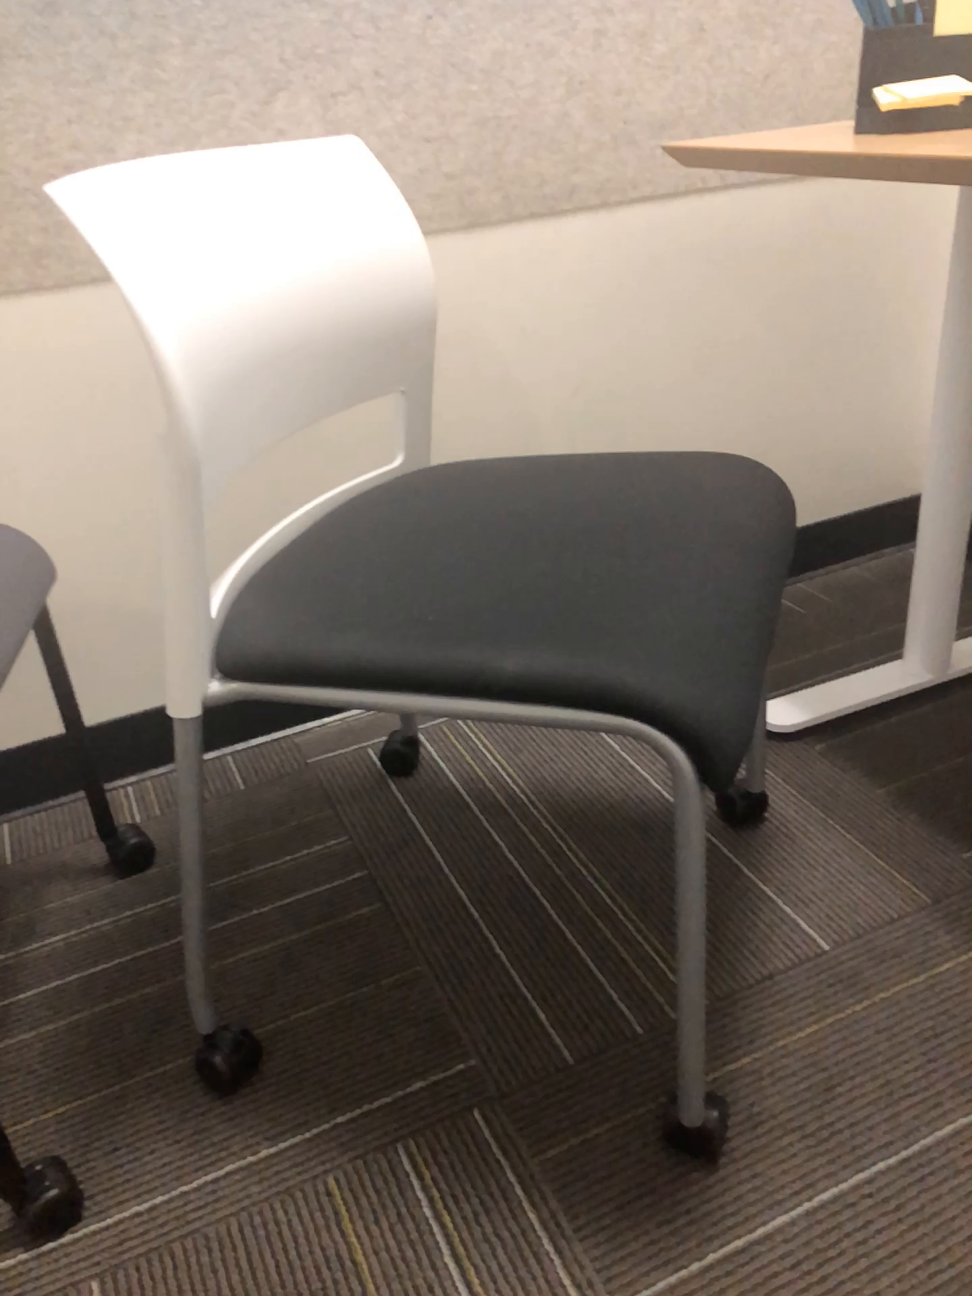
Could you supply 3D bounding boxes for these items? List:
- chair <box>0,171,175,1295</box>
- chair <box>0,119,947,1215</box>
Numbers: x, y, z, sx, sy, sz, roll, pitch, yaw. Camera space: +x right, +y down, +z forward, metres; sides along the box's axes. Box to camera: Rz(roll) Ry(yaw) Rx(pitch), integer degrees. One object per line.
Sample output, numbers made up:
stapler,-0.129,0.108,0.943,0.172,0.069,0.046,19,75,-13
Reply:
chair,-0.758,0.073,1.056,0.650,0.933,0.705,-6,27,-6
chair,0.030,-0.046,1.216,0.650,0.962,0.706,4,28,10
